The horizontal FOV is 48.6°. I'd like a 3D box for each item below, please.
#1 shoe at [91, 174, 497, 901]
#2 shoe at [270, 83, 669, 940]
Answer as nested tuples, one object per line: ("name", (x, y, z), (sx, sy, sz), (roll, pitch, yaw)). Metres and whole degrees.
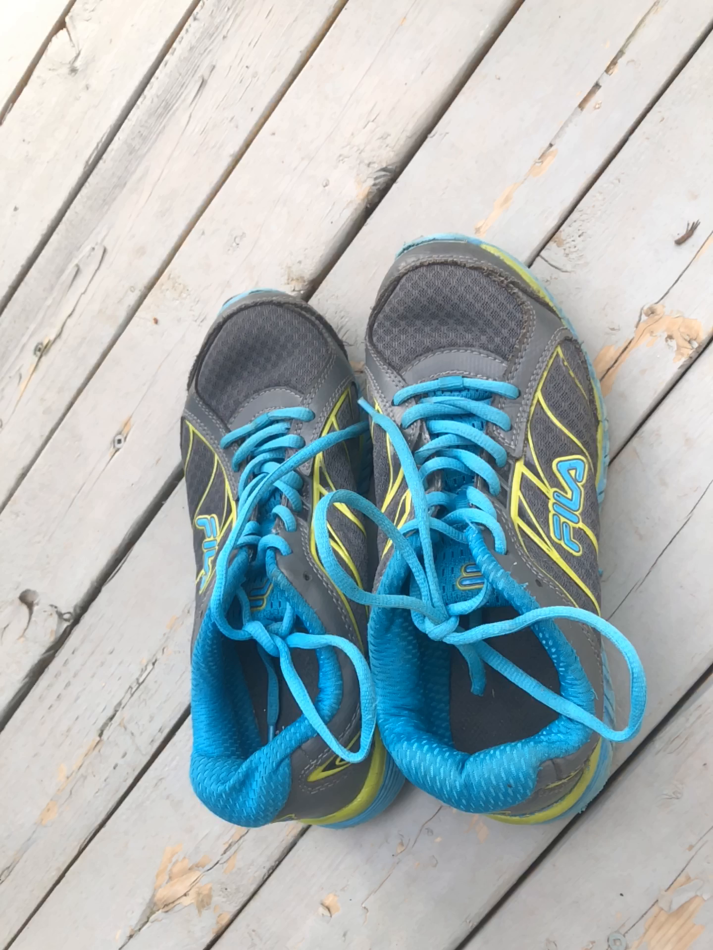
("shoe", (-0.028, 0.030, 0.392), (0.110, 0.130, 0.290), (-14, 80, 25))
("shoe", (0.045, 0.013, 0.320), (0.110, 0.090, 0.280), (-9, 81, 26))
